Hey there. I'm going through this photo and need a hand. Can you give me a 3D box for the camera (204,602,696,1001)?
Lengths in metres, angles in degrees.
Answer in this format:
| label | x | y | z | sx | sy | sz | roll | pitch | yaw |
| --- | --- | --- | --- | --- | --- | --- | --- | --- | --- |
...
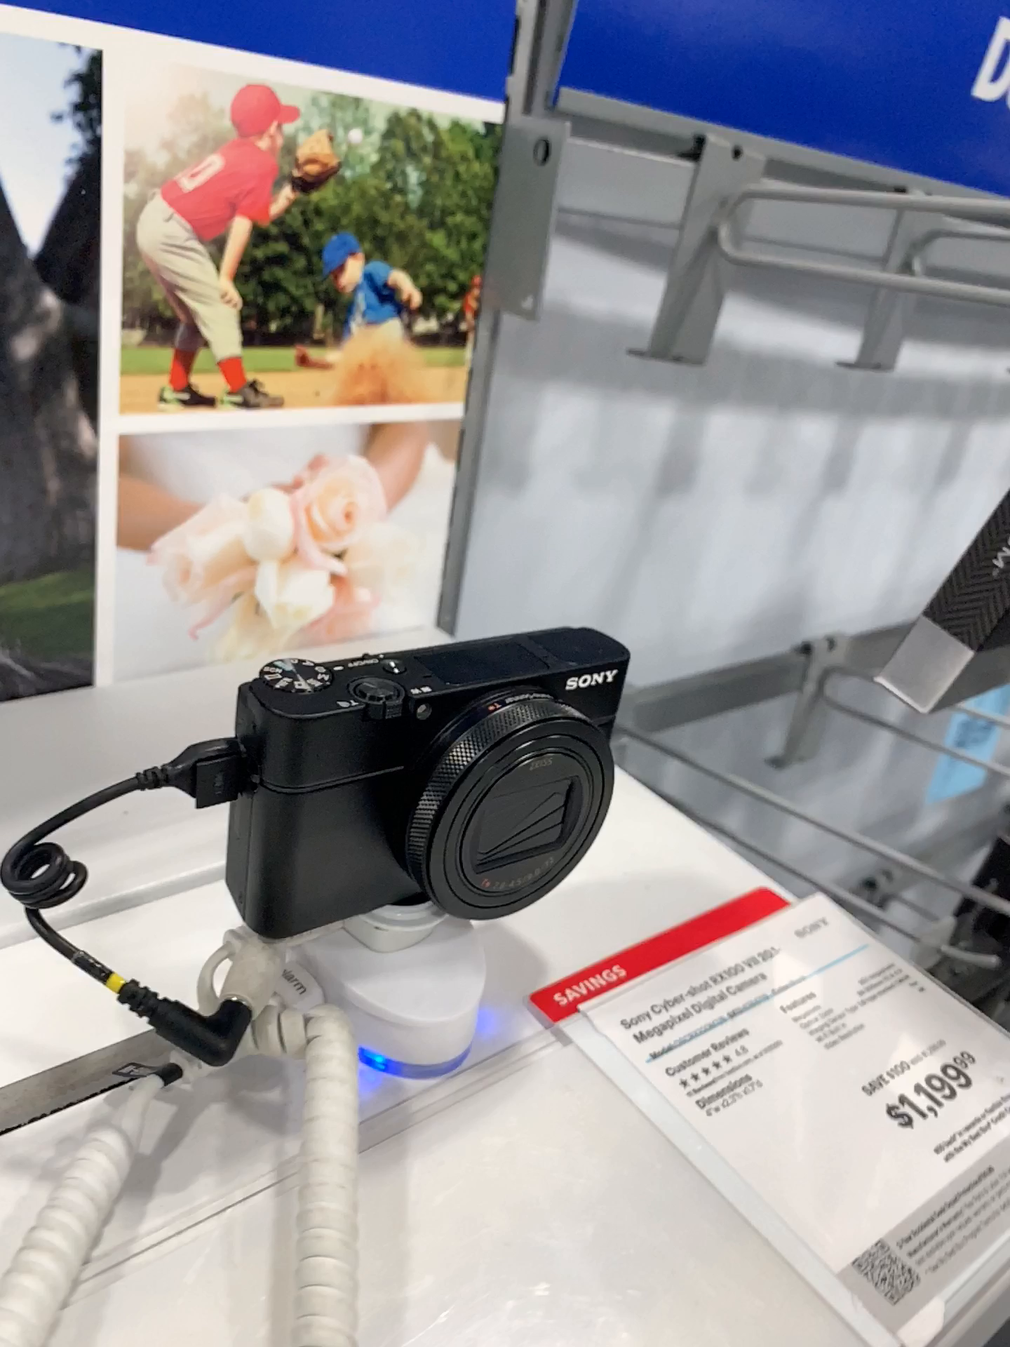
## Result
| label | x | y | z | sx | sy | sz | roll | pitch | yaw |
| --- | --- | --- | --- | --- | --- | --- | --- | --- | --- |
| camera | -0.012 | 0.024 | 0.252 | 0.105 | 0.060 | 0.043 | -10 | 30 | -37 |
